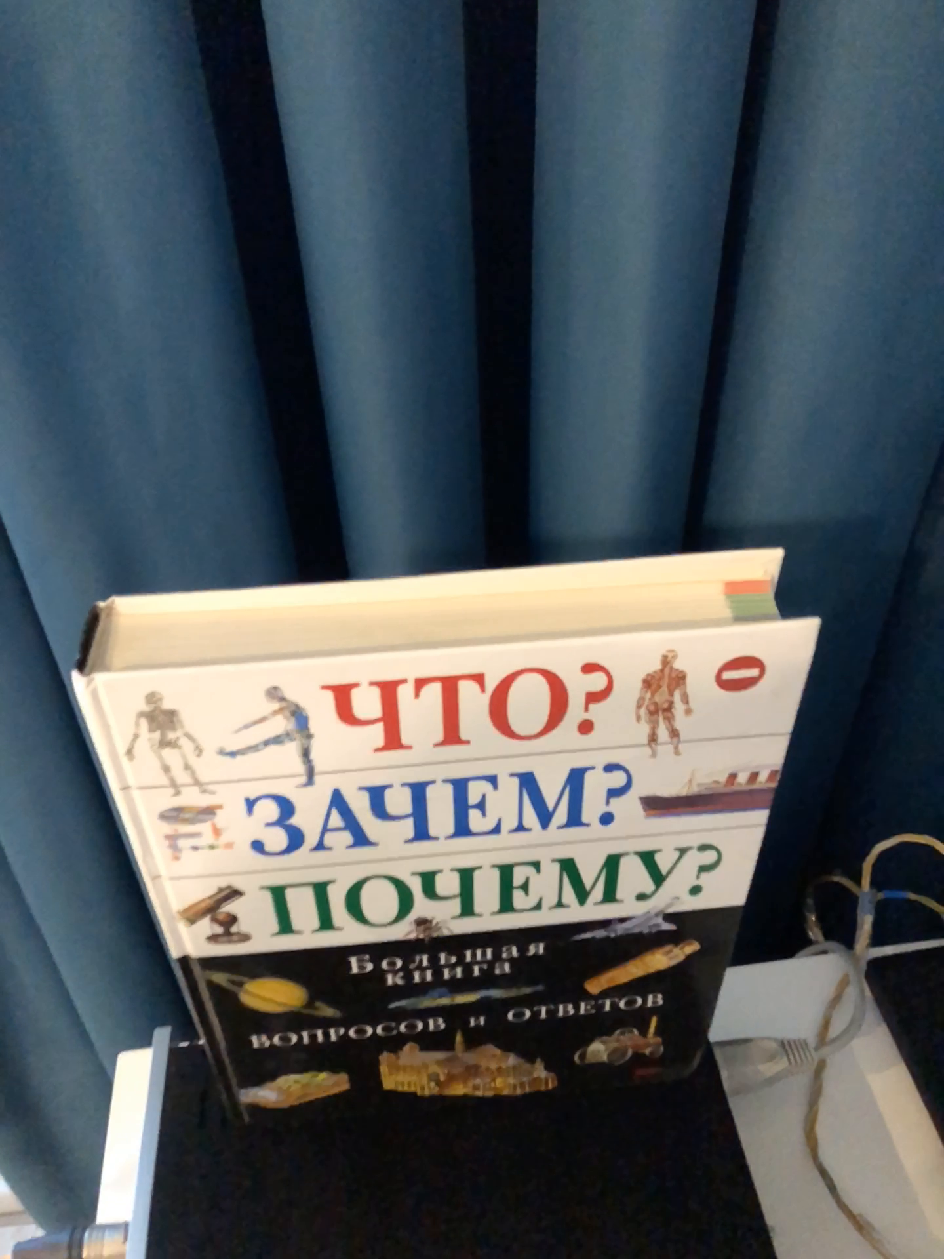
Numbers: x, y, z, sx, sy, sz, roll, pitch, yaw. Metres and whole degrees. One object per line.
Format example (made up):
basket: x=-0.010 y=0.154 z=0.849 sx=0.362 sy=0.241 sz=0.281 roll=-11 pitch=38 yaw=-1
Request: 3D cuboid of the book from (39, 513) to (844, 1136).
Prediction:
book: x=-0.005 y=0.099 z=0.403 sx=0.224 sy=0.300 sz=0.042 roll=-4 pitch=41 yaw=-4
